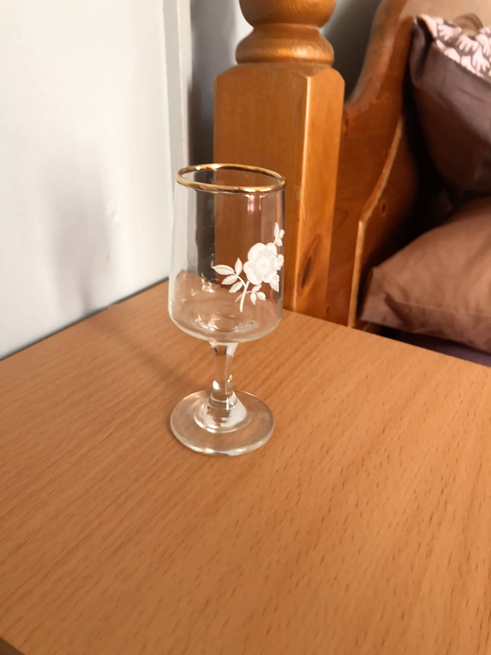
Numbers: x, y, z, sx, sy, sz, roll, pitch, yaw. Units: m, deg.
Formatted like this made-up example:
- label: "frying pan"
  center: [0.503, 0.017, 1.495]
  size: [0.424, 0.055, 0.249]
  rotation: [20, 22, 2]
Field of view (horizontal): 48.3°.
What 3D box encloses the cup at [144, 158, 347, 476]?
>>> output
- label: "cup"
  center: [-0.004, -0.008, 0.222]
  size: [0.052, 0.107, 0.056]
  rotation: [3, 26, -1]
